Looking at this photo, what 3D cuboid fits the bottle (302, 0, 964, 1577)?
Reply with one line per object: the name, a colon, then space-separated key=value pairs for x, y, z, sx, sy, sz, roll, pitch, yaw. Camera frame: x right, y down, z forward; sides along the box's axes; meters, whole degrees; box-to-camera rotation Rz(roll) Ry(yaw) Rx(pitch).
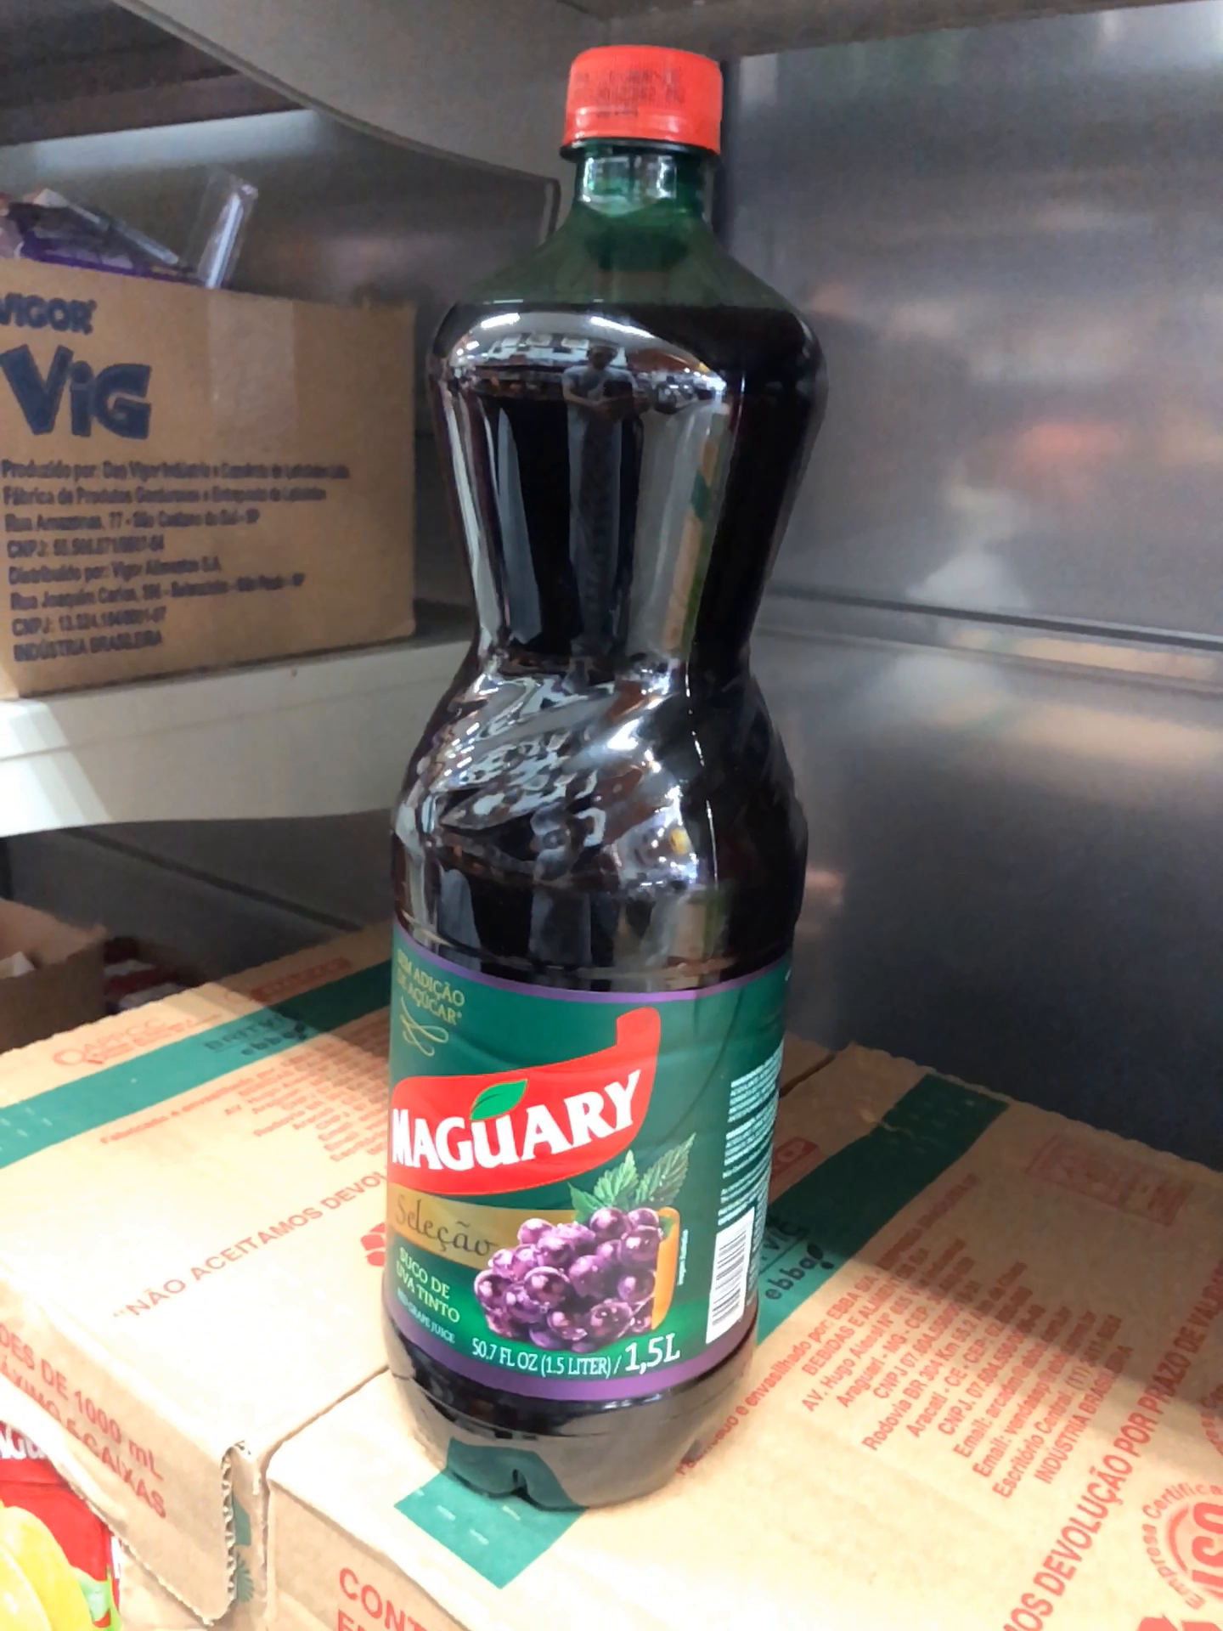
bottle: x=0.001 y=-0.001 z=0.290 sx=0.100 sy=0.288 sz=0.080 roll=9 pitch=18 yaw=19
